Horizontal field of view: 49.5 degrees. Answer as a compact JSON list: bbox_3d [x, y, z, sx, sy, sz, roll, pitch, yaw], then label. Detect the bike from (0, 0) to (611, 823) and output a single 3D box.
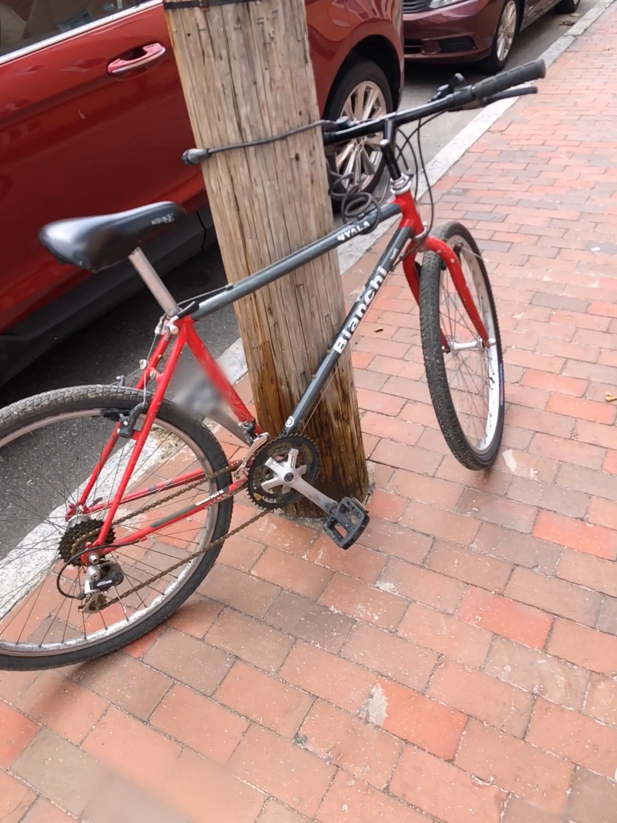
[{"bbox_3d":[-0.127,-0.188,1.417,1.531,0.983,0.582,-32,43,-27],"label":"bike"}]
